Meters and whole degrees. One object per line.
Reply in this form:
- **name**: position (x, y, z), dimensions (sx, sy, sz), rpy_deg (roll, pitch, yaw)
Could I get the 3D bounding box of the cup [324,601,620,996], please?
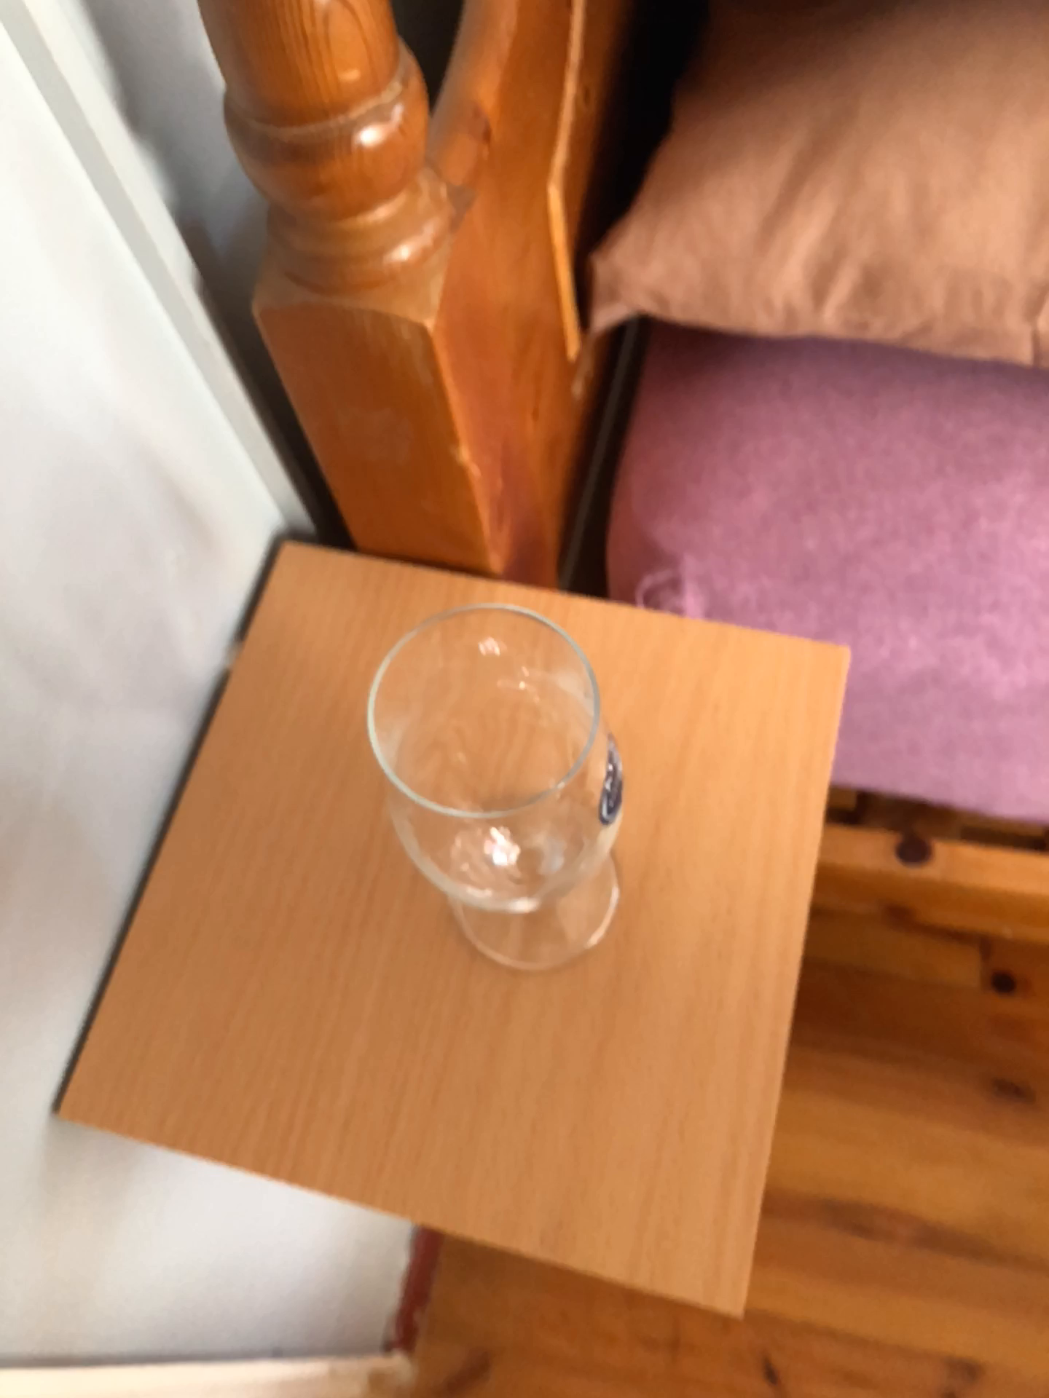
- **cup**: position (-0.008, 0.042, 0.371), dimensions (0.068, 0.167, 0.068), rpy_deg (-2, 65, 5)
